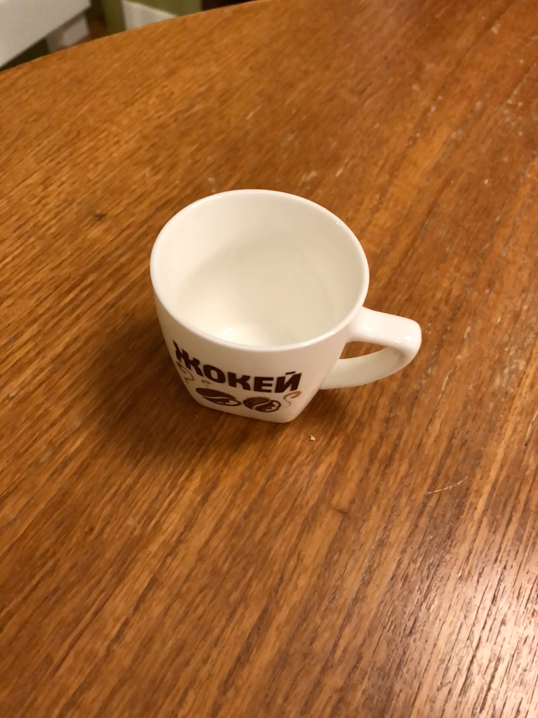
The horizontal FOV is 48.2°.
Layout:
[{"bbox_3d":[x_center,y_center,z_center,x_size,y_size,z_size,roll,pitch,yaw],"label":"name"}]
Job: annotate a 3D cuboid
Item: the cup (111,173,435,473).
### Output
[{"bbox_3d":[0.004,-0.011,0.182,0.075,0.047,0.060,13,57,6],"label":"cup"}]
